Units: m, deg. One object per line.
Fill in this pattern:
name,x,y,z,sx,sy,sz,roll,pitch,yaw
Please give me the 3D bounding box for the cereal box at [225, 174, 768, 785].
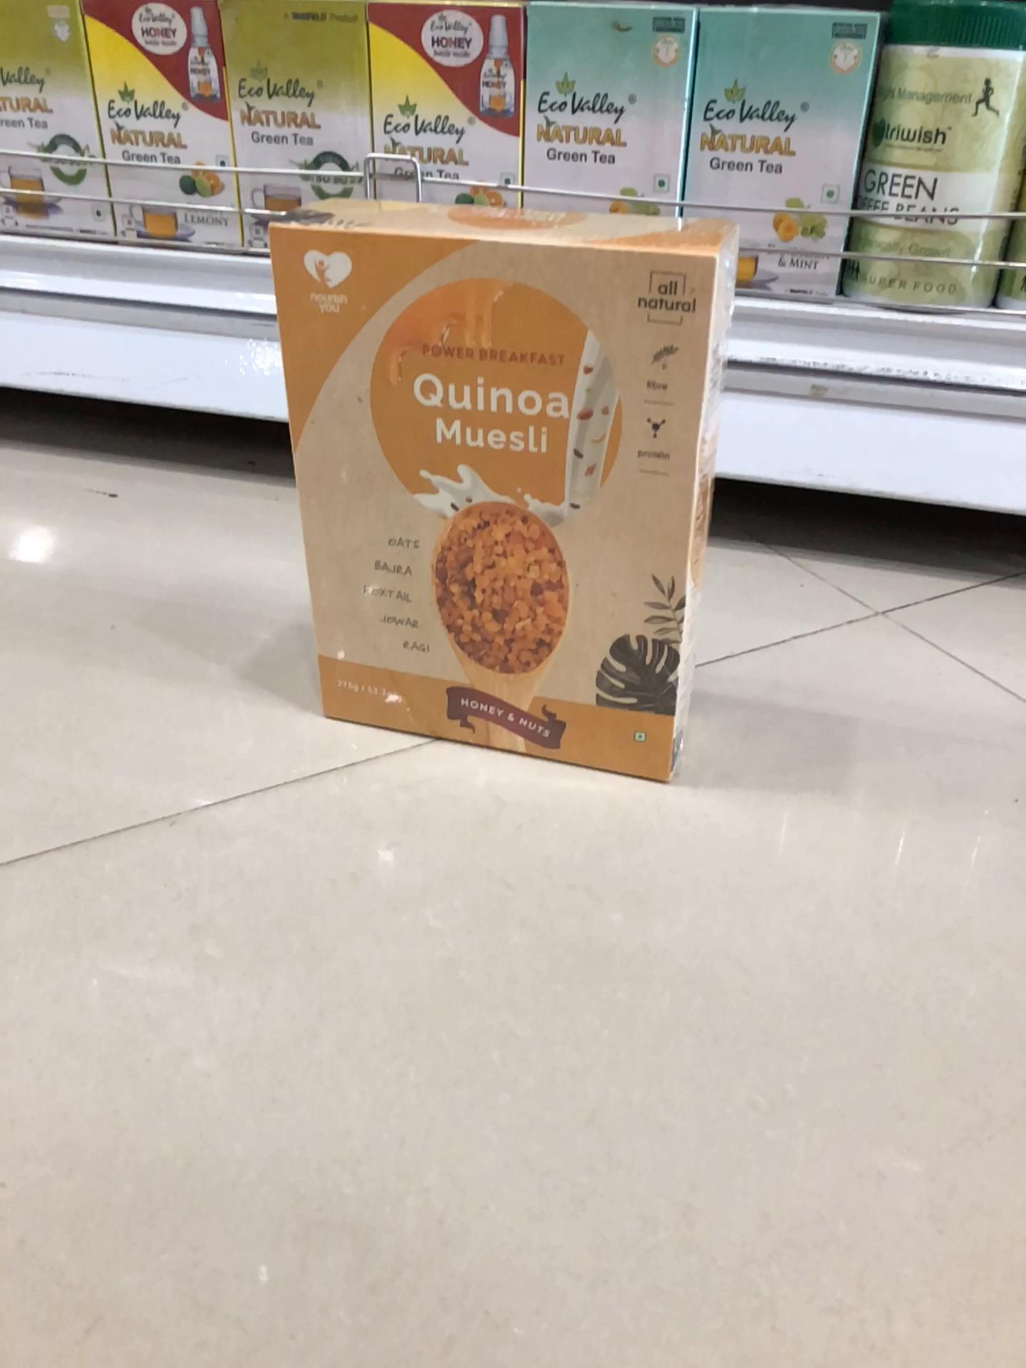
cereal box,-0.005,-0.076,0.427,0.170,0.199,0.060,10,33,16
